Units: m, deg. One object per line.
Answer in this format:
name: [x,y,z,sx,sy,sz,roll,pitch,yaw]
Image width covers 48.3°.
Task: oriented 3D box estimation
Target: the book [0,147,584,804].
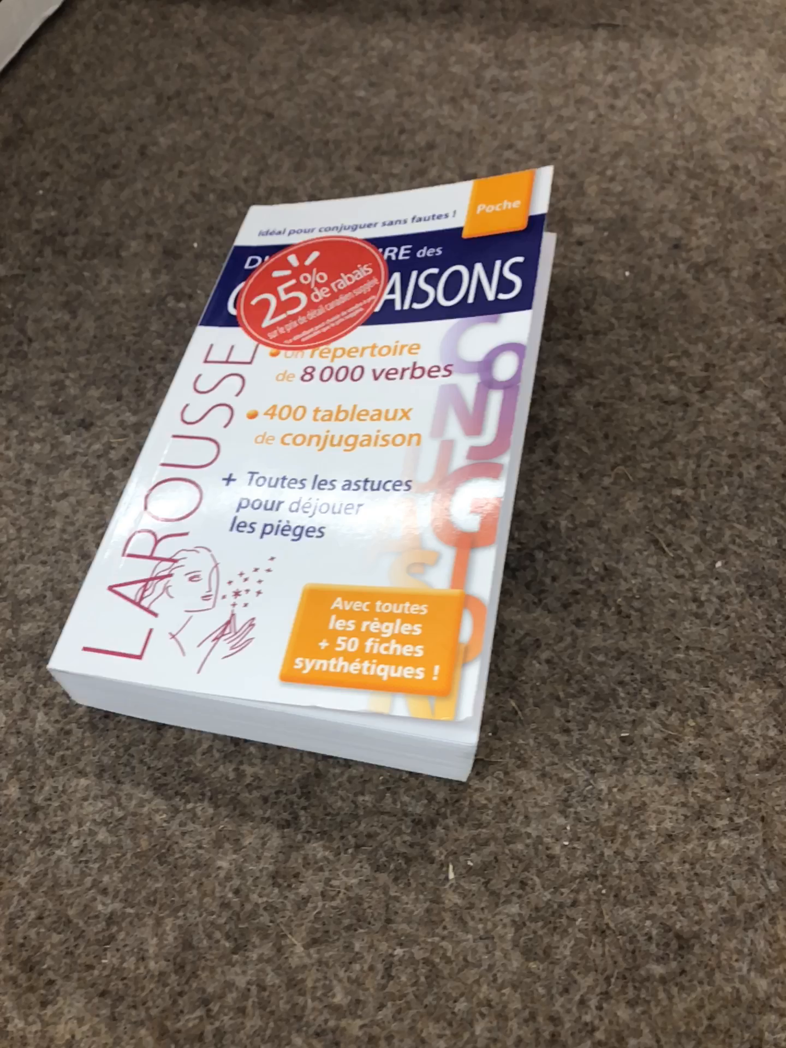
book: [-0.014,-0.030,0.280,0.124,0.059,0.200,7,59,11]
